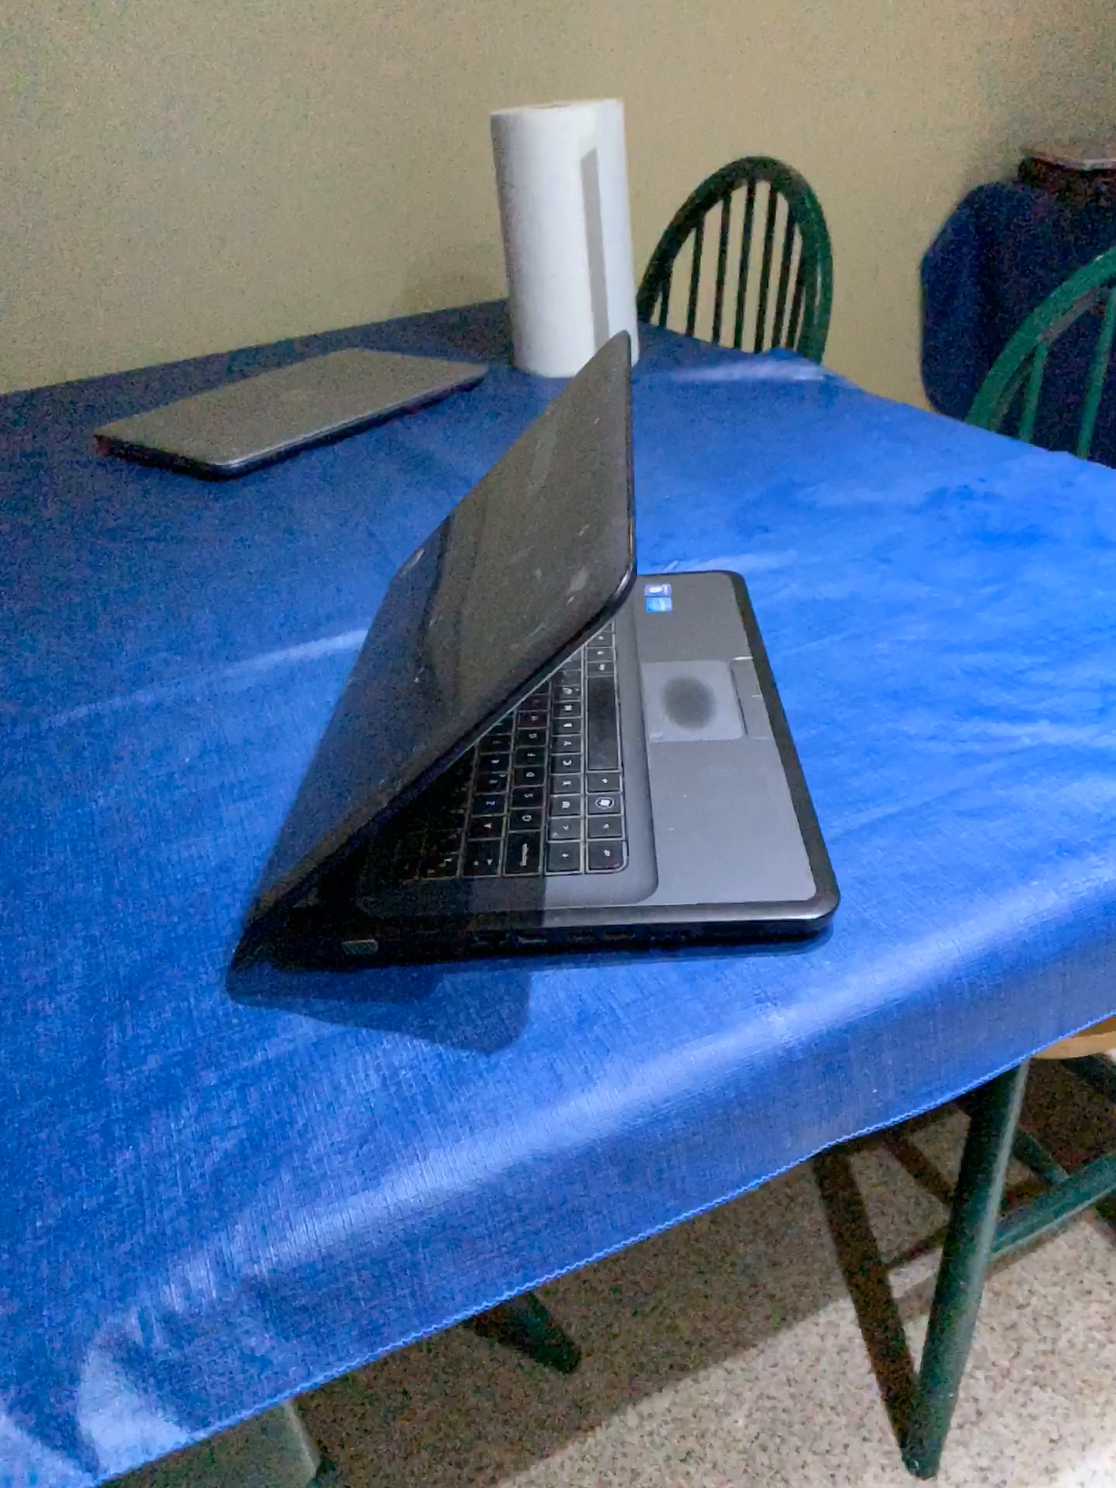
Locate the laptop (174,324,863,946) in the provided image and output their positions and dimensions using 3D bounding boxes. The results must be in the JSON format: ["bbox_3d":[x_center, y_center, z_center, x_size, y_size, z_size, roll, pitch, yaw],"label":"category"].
[{"bbox_3d":[-0.006,-0.086,0.596,0.243,0.160,0.364,-5,31,4],"label":"laptop"}]
